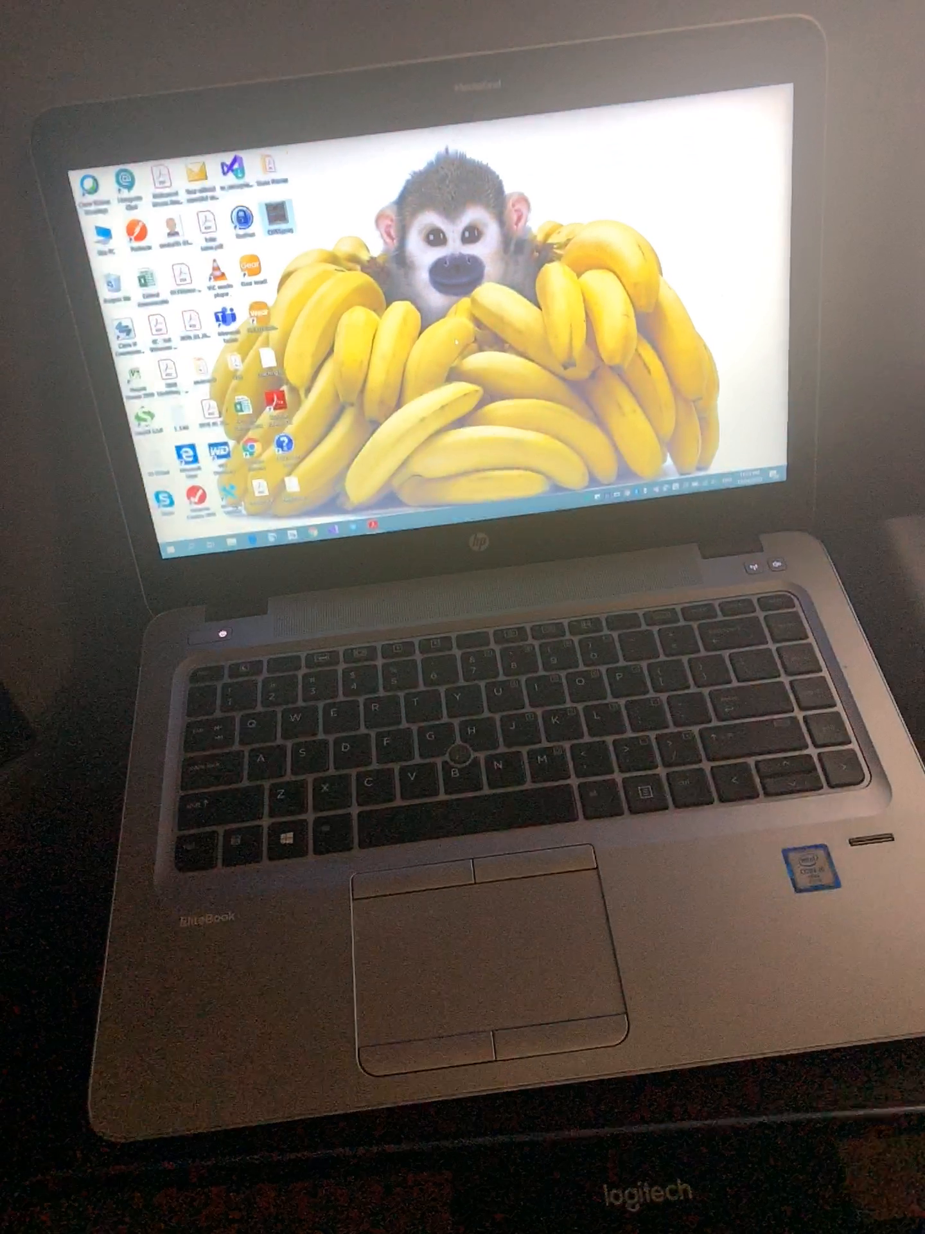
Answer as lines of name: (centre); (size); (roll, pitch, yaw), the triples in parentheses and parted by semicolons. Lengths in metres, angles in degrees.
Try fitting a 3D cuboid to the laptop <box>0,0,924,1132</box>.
laptop: (0.009, -0.043, 0.351); (0.318, 0.191, 0.327); (-8, 51, 0)
